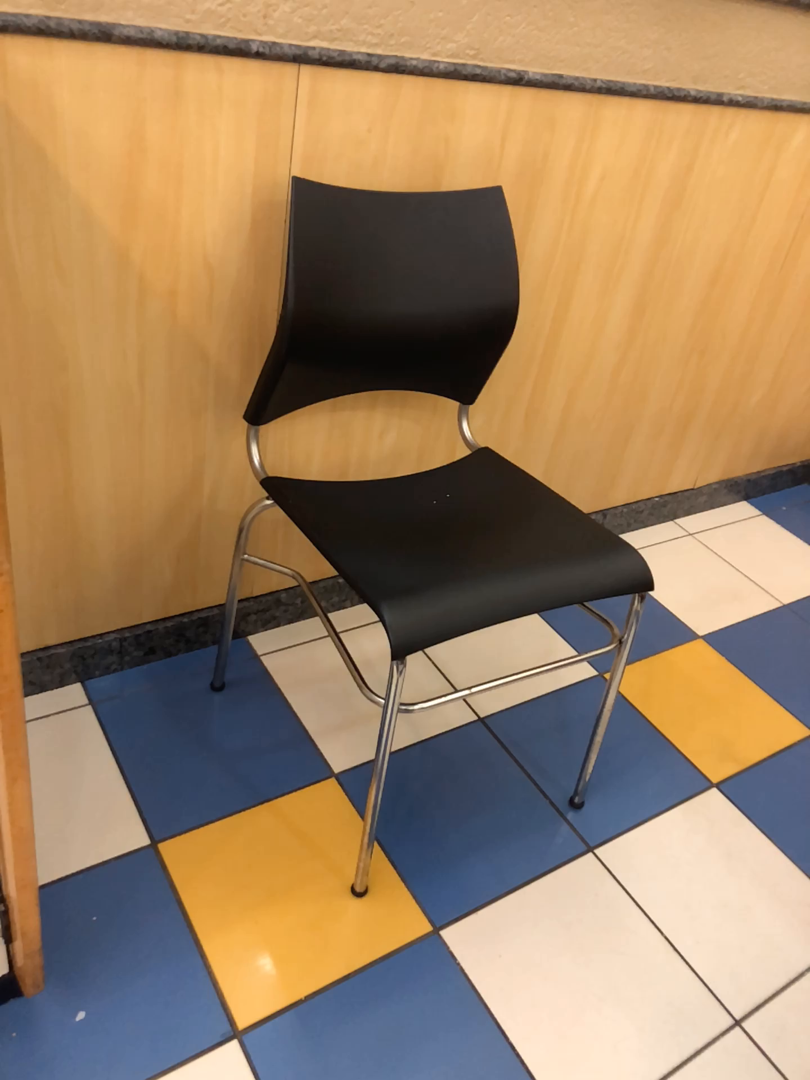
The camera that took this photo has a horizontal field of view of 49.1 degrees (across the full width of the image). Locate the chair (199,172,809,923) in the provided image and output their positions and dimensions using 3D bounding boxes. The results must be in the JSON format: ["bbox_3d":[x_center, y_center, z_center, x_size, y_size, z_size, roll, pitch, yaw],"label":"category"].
[{"bbox_3d":[0.046,-0.009,1.332,0.512,0.873,0.553,-11,39,-30],"label":"chair"}]
